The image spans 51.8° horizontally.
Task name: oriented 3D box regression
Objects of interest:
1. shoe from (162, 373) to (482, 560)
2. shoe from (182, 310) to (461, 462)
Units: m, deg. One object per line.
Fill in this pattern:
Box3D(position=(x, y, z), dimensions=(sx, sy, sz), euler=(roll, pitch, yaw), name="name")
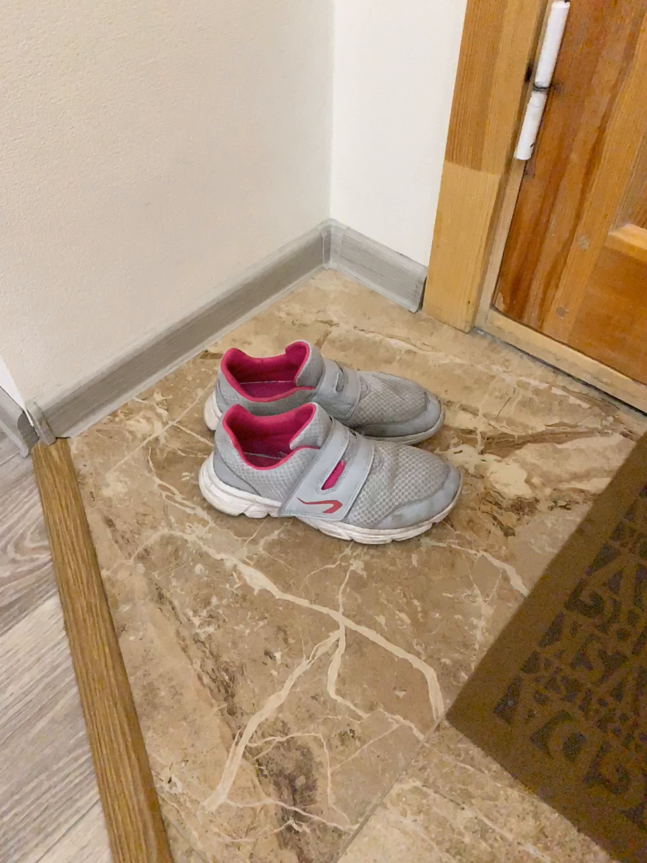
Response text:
Box3D(position=(0.003, 0.031, 0.606), dimensions=(0.260, 0.099, 0.101), euler=(6, 49, 5), name="shoe")
Box3D(position=(-0.001, -0.046, 0.667), dimensions=(0.250, 0.099, 0.101), euler=(3, 48, 1), name="shoe")
